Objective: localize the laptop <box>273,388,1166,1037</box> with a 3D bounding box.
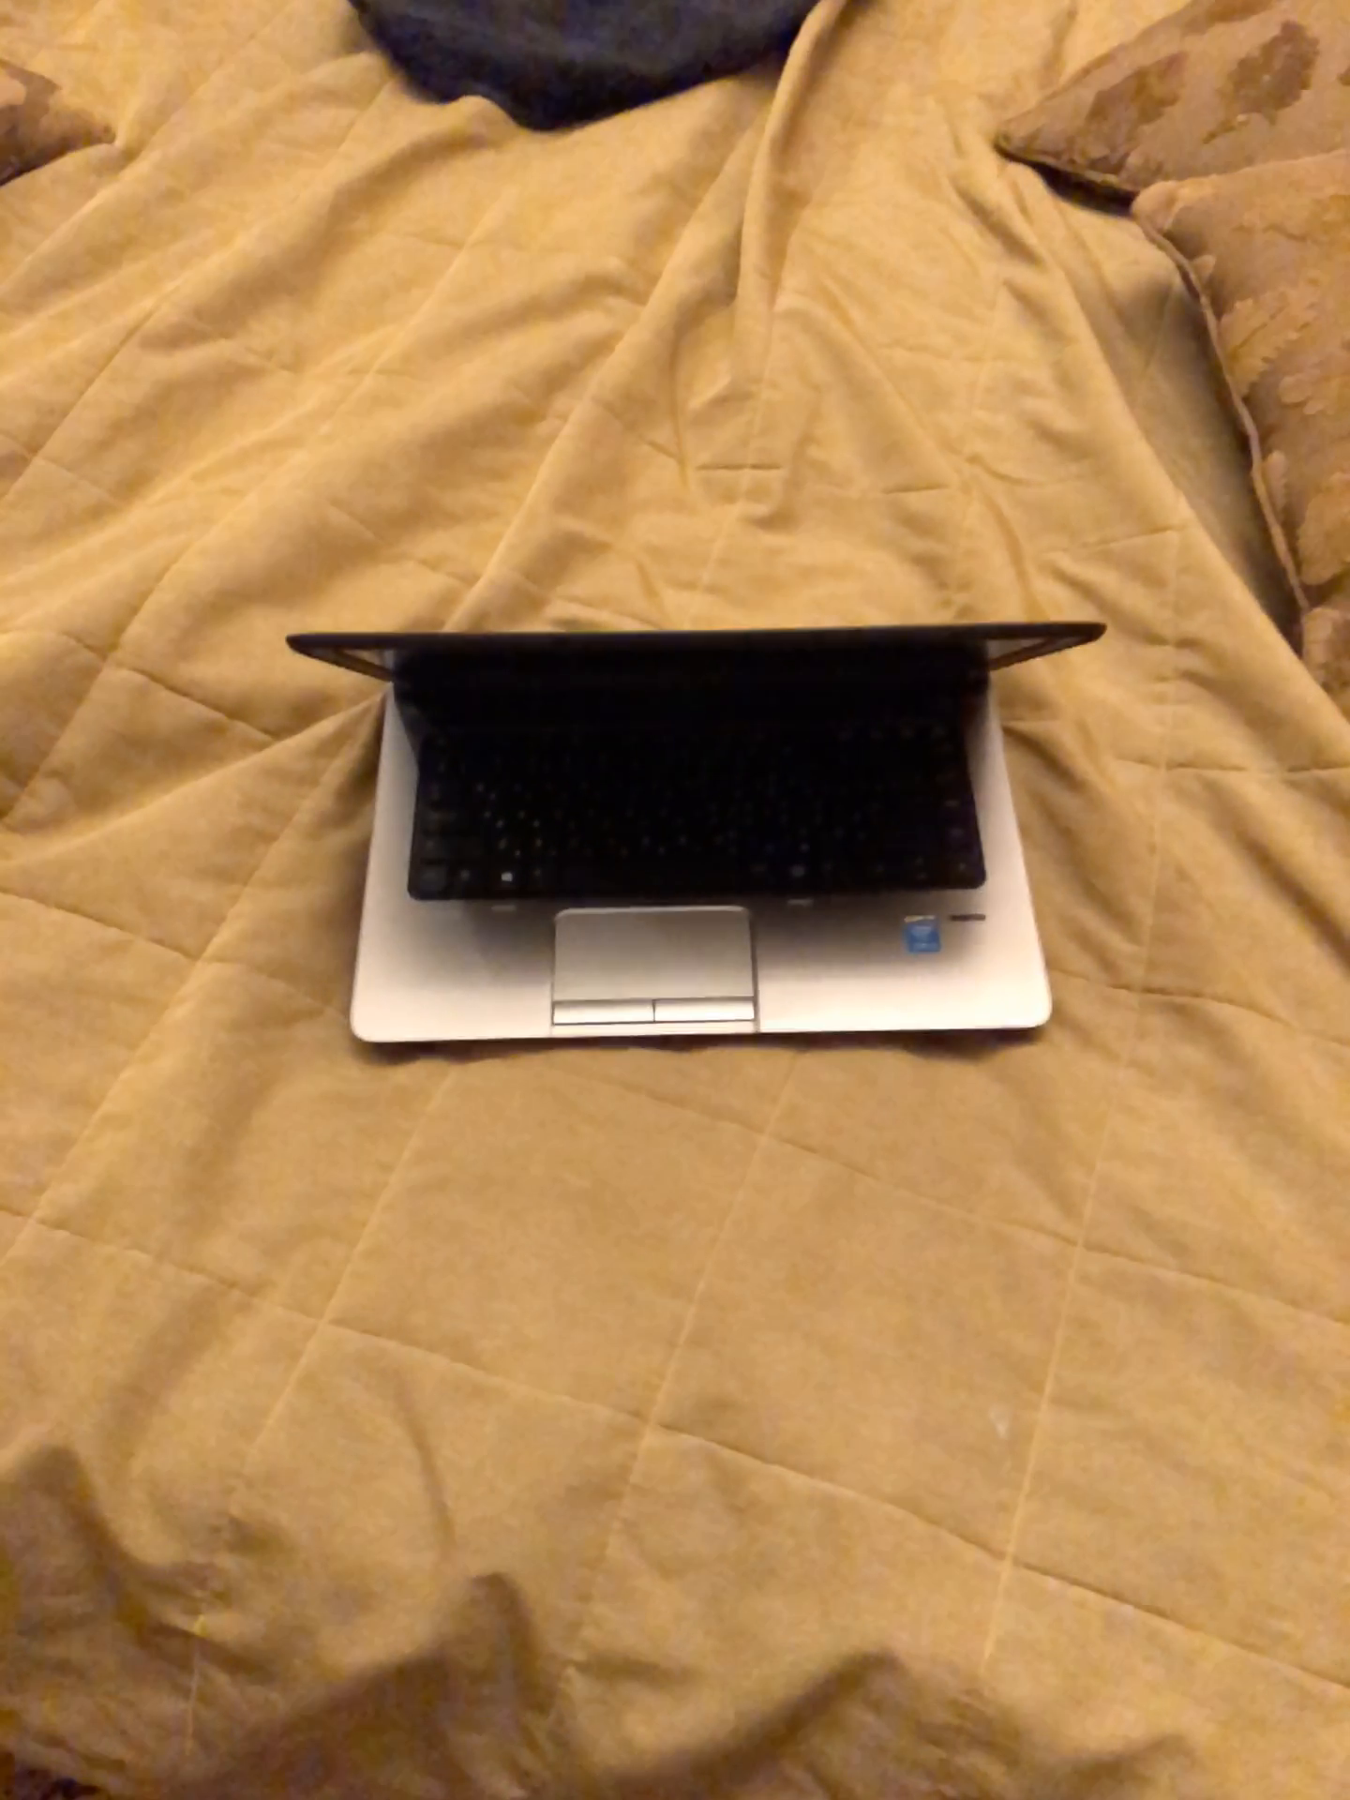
[{"bbox_3d":[0.014,-0.085,0.691,0.331,0.189,0.226,-1,56,-2],"label":"laptop"}]
